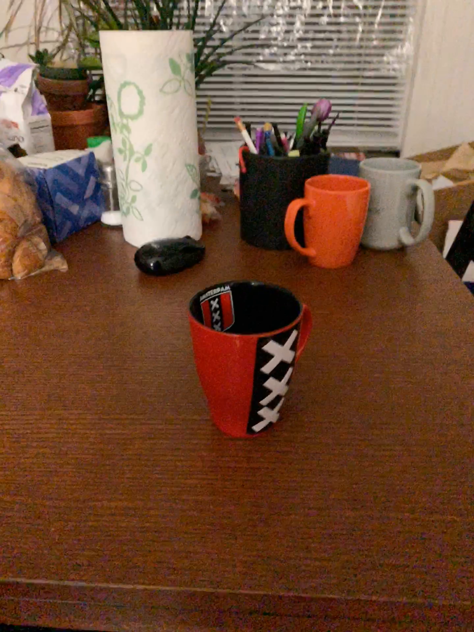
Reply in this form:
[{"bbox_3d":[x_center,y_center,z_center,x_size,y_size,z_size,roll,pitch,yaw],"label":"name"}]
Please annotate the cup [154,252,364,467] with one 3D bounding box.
[{"bbox_3d":[0.018,0.025,0.387,0.130,0.099,0.090,-24,37,-35],"label":"cup"}]
